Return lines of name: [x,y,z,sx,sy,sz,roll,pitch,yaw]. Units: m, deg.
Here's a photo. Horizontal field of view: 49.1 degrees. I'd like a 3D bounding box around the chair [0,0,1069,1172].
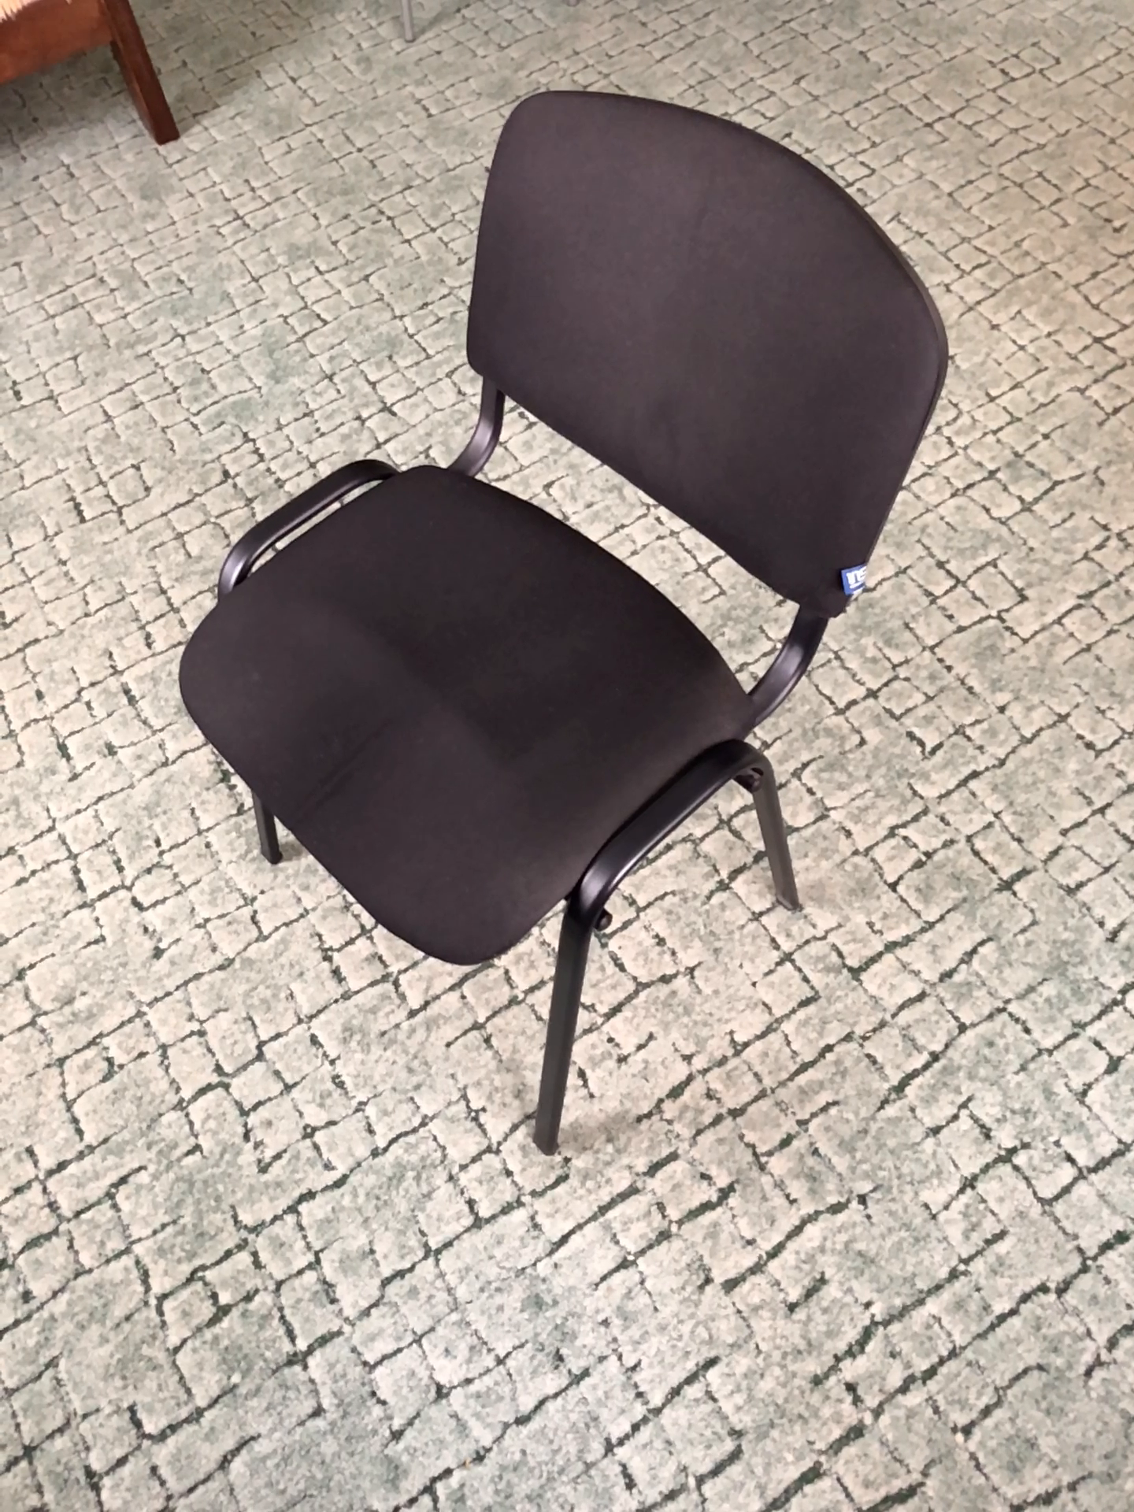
chair: [-0.046,-0.124,1.203,0.602,0.785,0.582,-40,63,-18]
